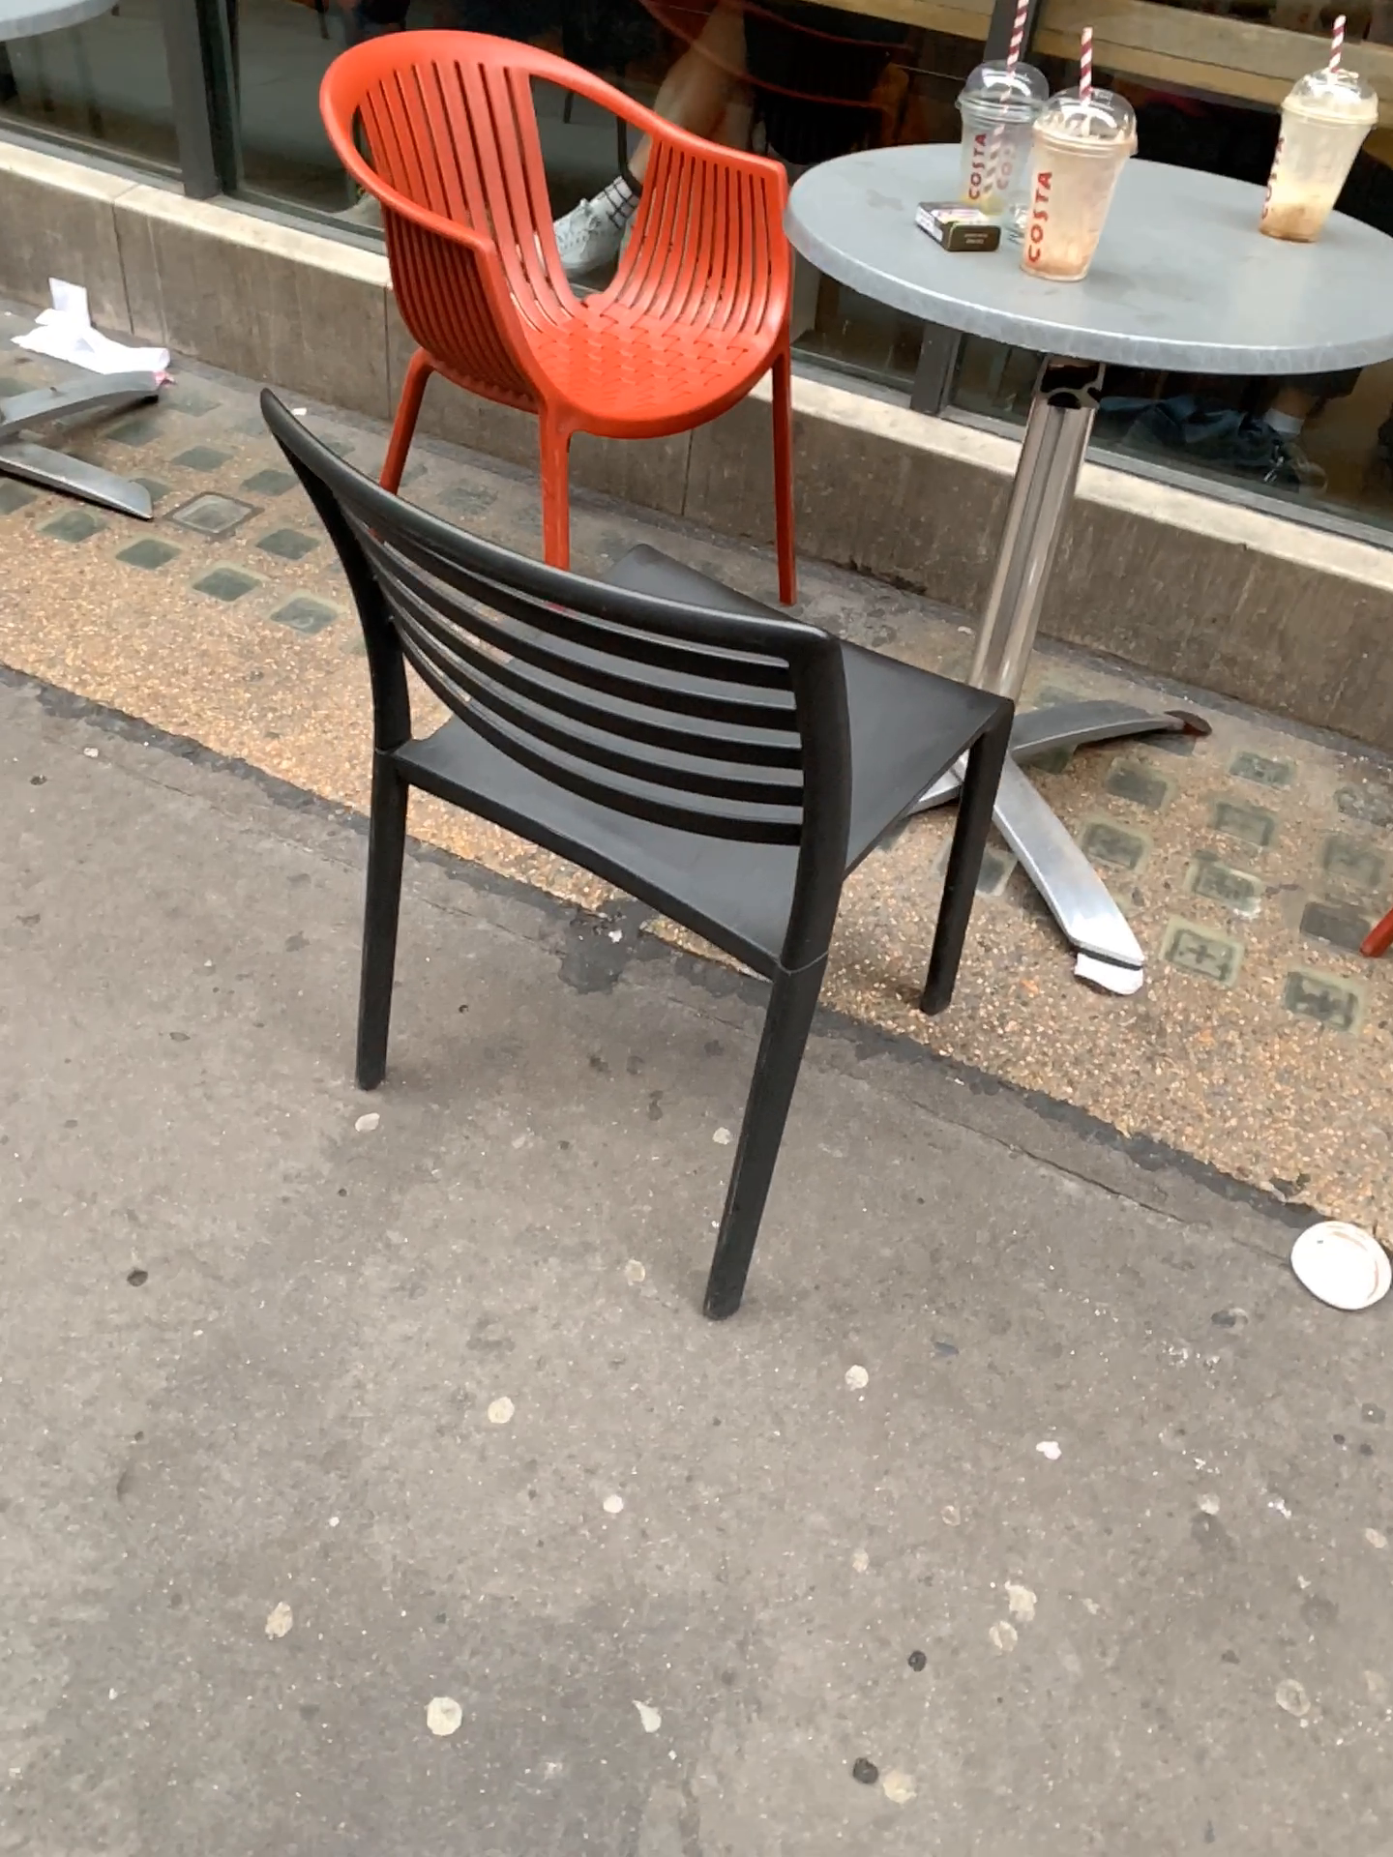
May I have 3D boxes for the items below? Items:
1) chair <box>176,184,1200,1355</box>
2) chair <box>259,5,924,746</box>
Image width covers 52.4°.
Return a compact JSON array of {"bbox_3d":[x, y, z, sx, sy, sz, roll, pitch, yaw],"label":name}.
[{"bbox_3d":[-0.005,-0.166,1.329,0.551,0.752,0.605,26,45,19],"label":"chair"},{"bbox_3d":[-0.165,-0.826,2.072,0.643,0.742,0.574,33,48,25],"label":"chair"}]
